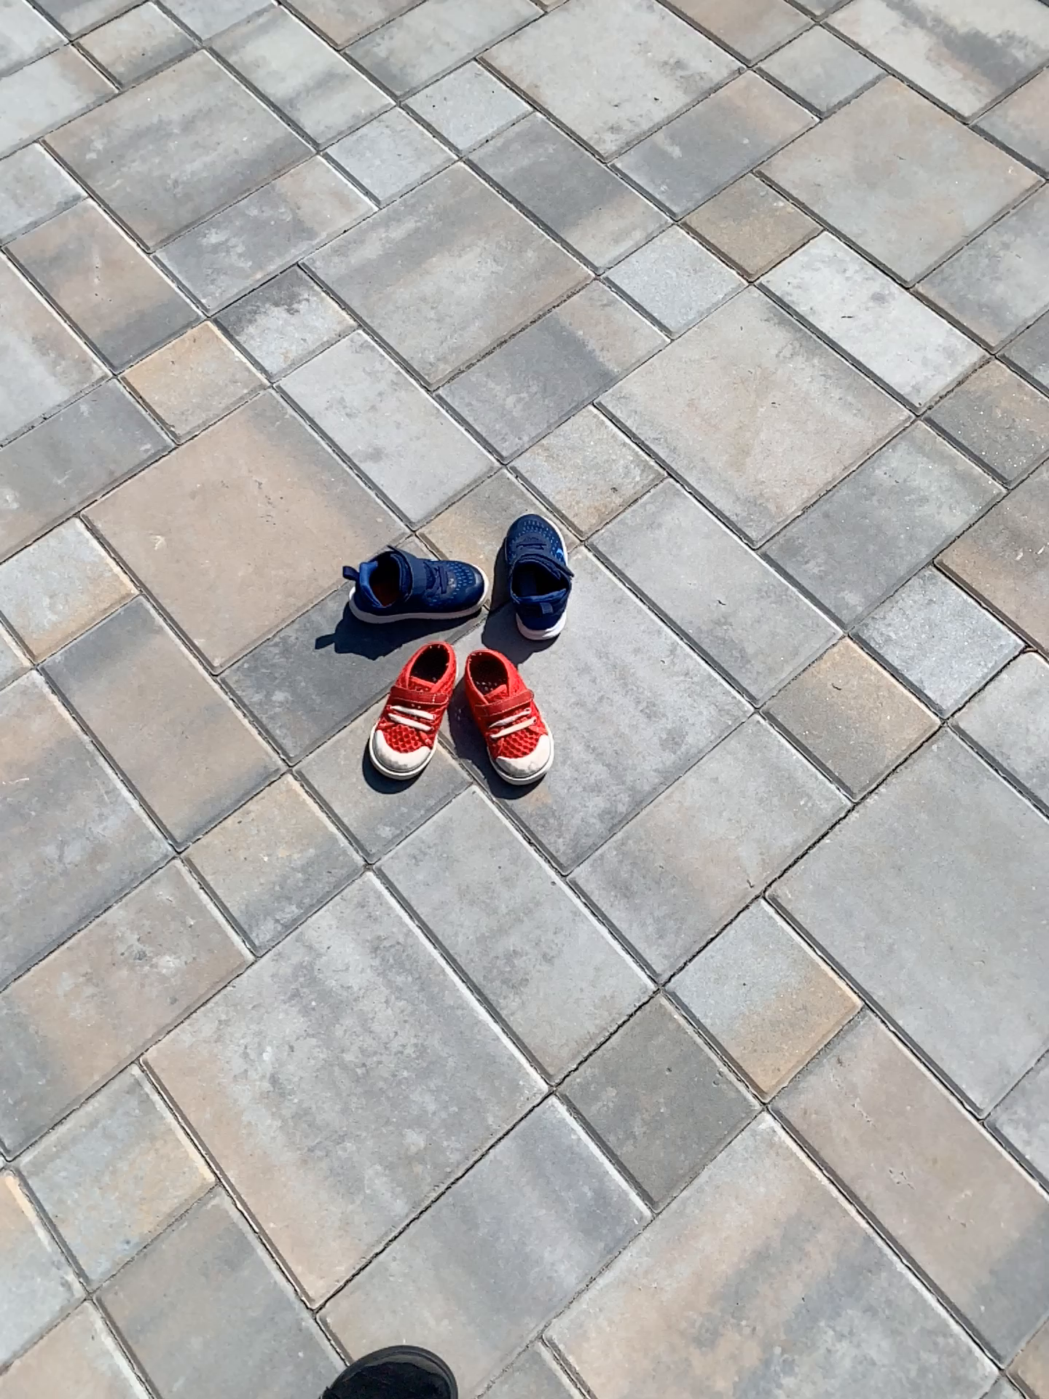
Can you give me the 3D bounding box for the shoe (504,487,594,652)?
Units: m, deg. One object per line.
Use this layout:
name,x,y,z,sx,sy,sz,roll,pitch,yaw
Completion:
shoe,0.027,-0.151,1.240,0.080,0.070,0.170,-7,67,-2

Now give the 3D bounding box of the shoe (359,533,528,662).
shoe,-0.092,-0.118,1.252,0.180,0.090,0.090,-10,68,-3

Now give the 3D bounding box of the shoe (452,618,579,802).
shoe,-0.011,0.011,1.165,0.080,0.070,0.170,-19,69,-7

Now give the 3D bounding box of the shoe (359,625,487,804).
shoe,-0.110,0.017,1.191,0.080,0.070,0.170,18,69,8
